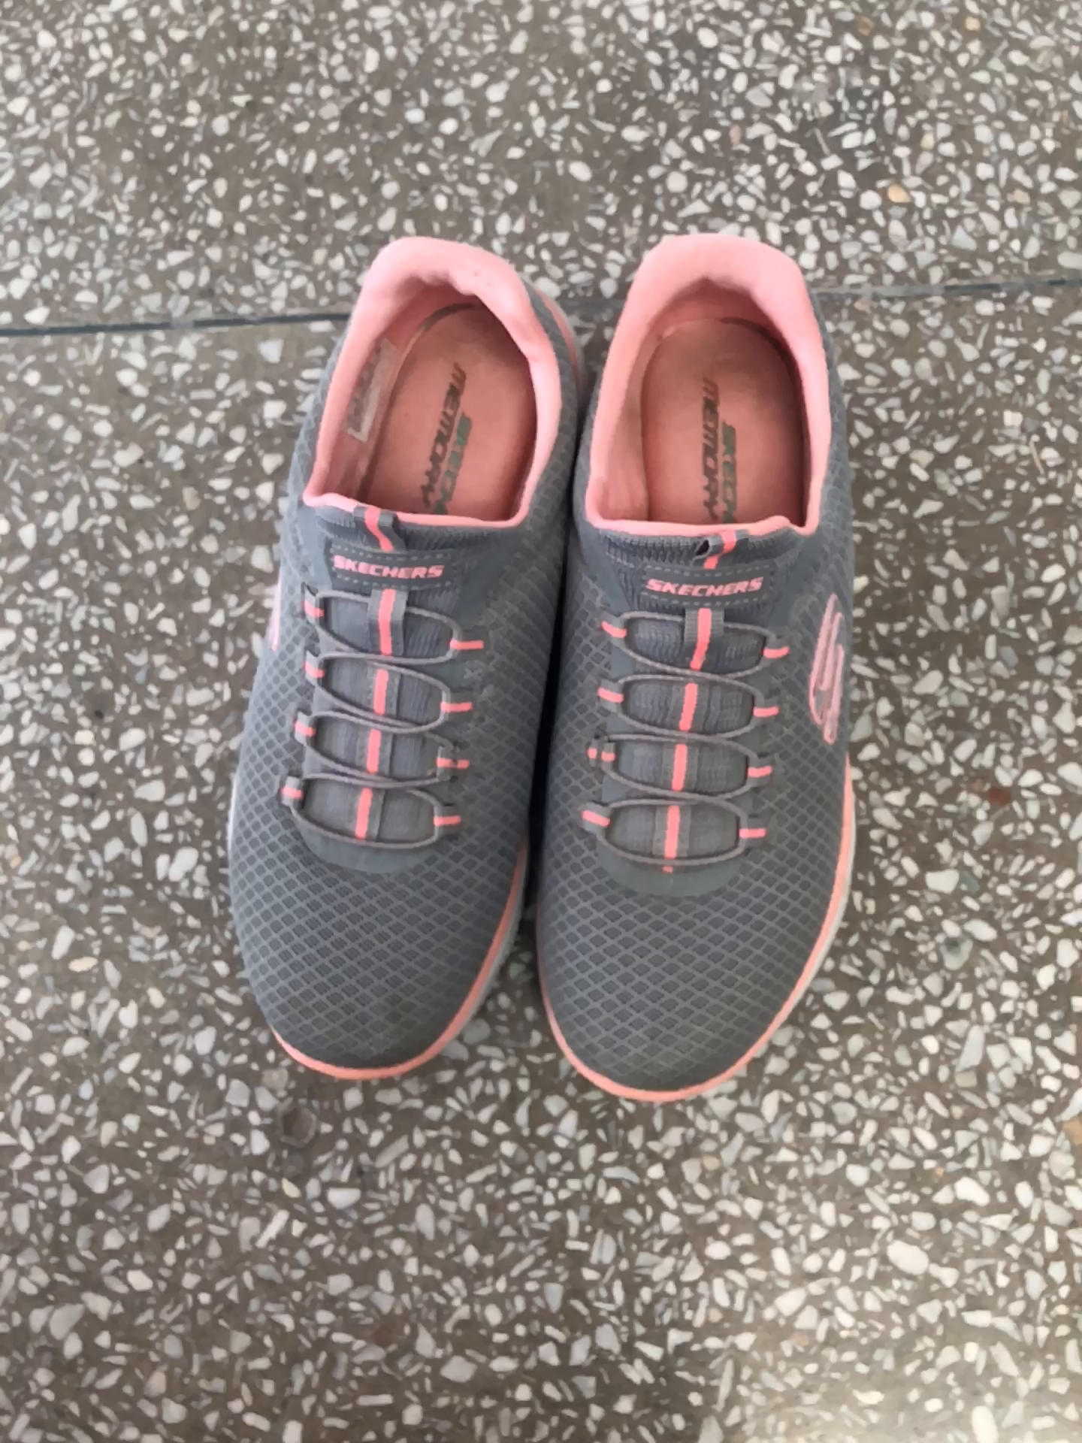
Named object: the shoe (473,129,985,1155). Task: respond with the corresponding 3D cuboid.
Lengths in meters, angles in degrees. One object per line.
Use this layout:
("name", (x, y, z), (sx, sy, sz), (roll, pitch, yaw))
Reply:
("shoe", (0.052, -0.019, 0.341), (0.102, 0.108, 0.246), (6, 76, 4))

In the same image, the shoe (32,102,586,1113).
("shoe", (-0.049, -0.030, 0.342), (0.097, 0.095, 0.252), (6, 76, 4))
